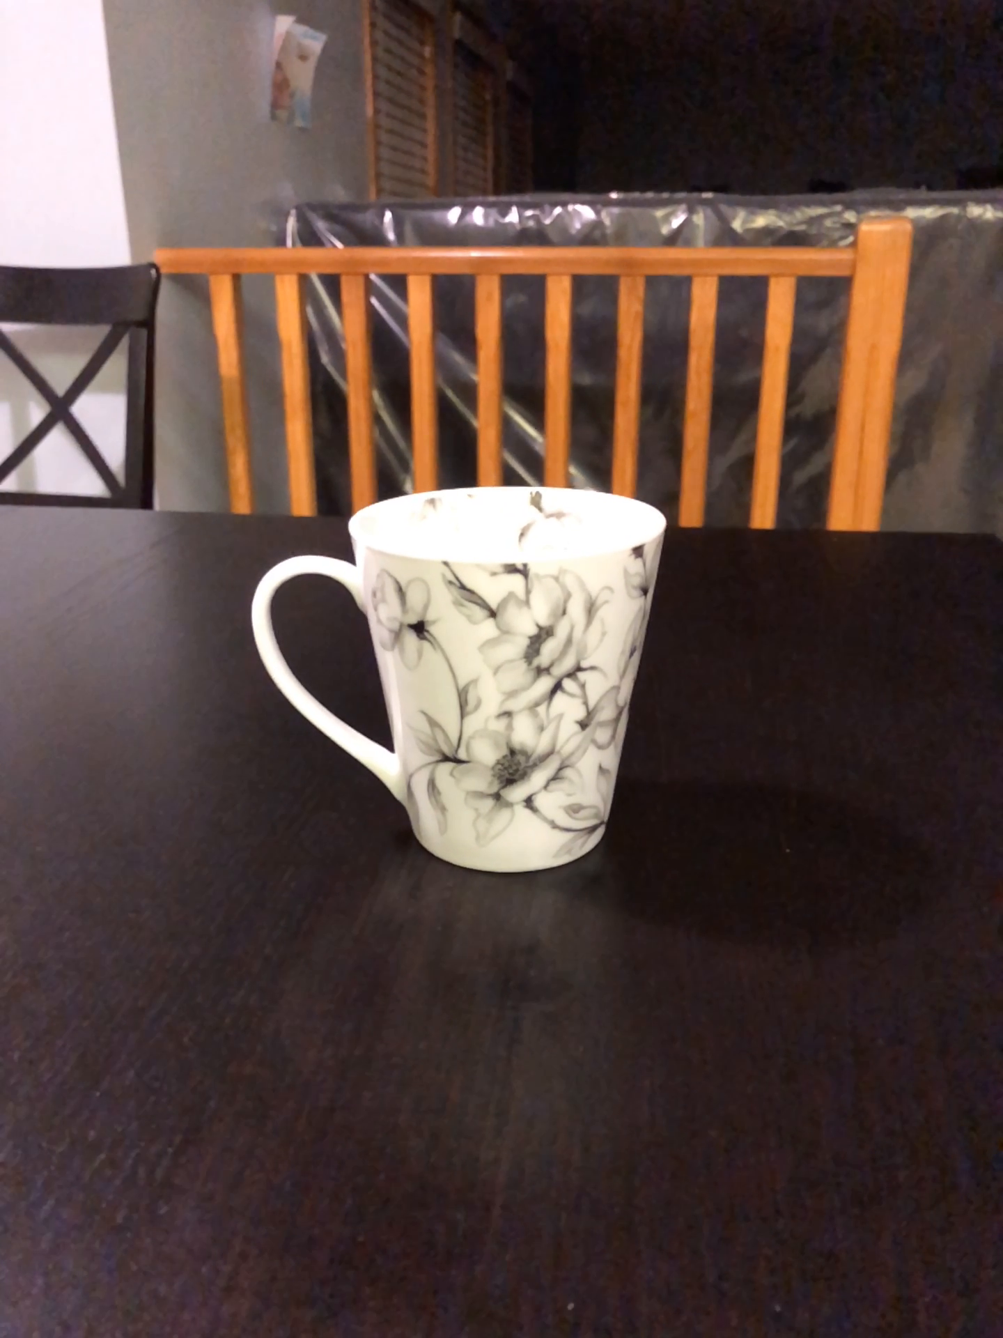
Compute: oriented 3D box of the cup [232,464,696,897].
[{"bbox_3d":[-0.016,-0.004,0.348,0.120,0.100,0.100,-3,19,-10],"label":"cup"}]
